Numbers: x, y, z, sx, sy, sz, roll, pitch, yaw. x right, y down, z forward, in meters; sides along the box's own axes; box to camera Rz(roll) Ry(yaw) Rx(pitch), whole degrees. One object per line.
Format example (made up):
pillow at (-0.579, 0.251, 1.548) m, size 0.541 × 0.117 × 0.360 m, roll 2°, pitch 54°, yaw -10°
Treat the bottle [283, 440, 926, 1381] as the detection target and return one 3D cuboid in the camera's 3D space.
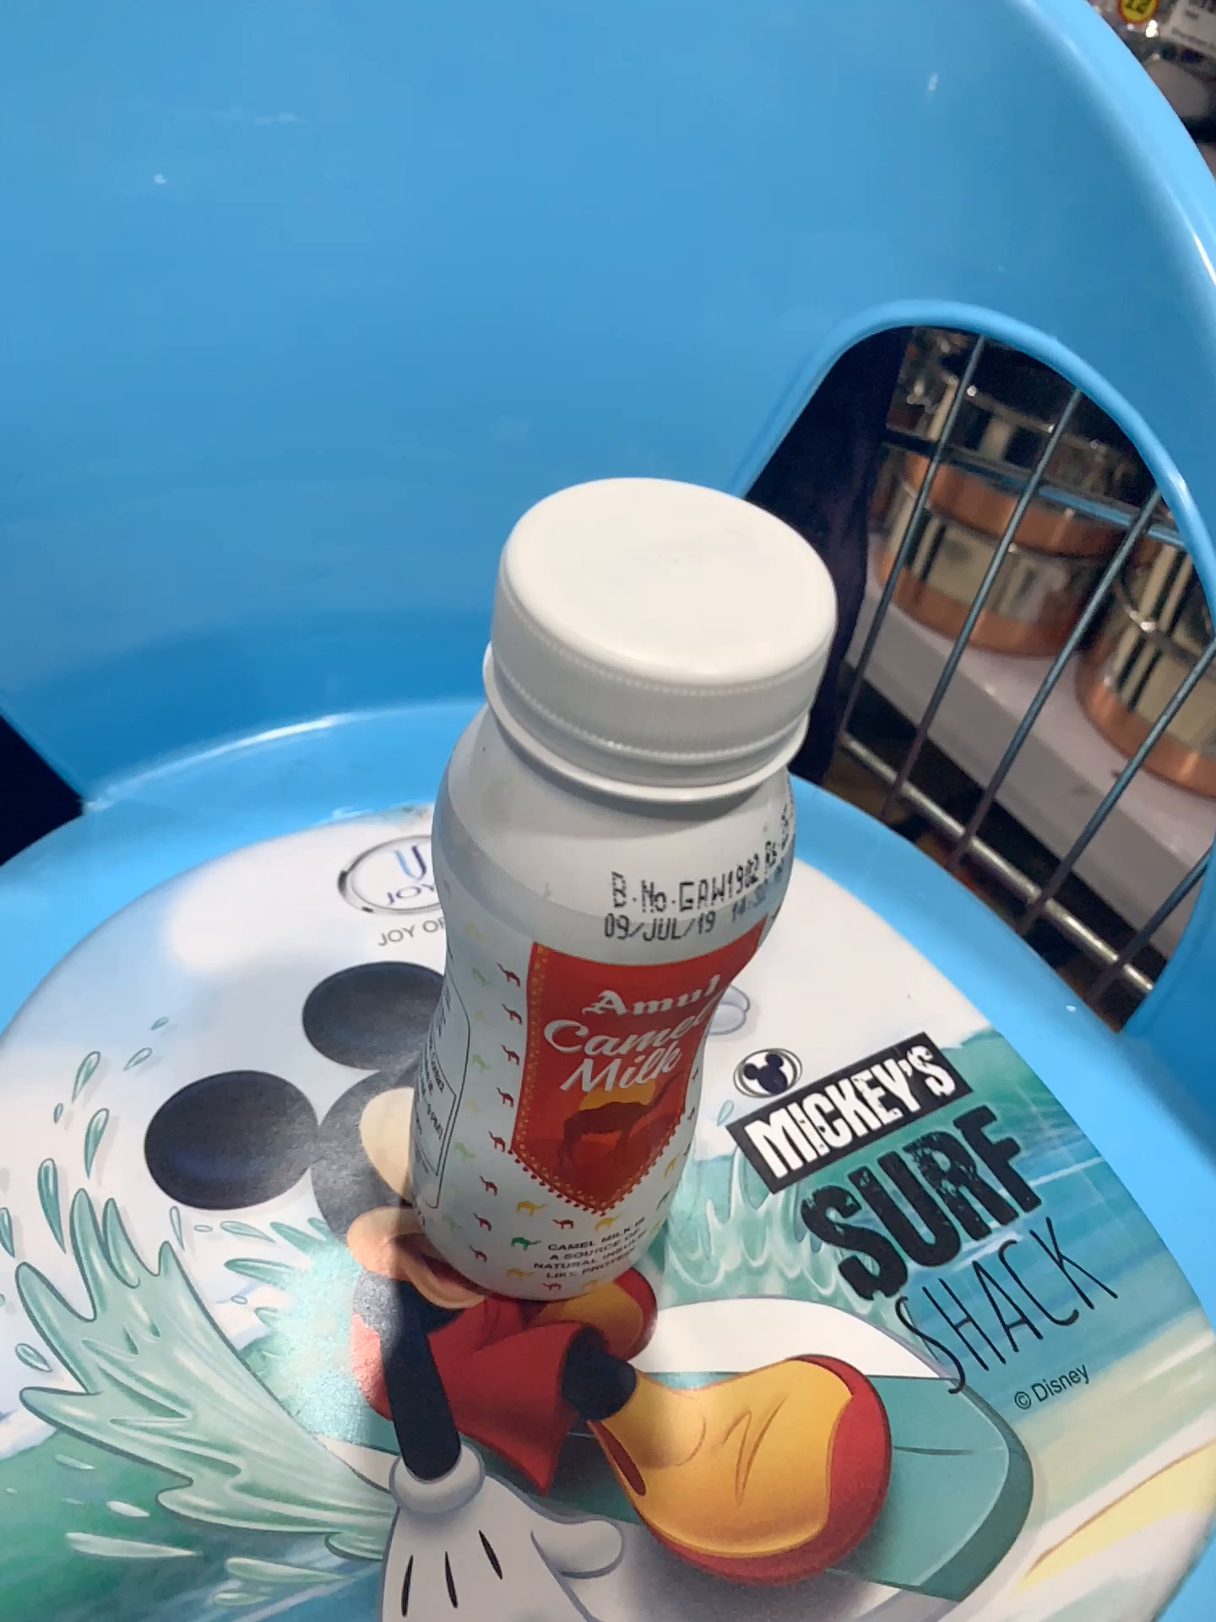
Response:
bottle at (-0.010, 0.020, 0.189) m, size 0.060 × 0.130 × 0.060 m, roll 4°, pitch 42°, yaw -4°
